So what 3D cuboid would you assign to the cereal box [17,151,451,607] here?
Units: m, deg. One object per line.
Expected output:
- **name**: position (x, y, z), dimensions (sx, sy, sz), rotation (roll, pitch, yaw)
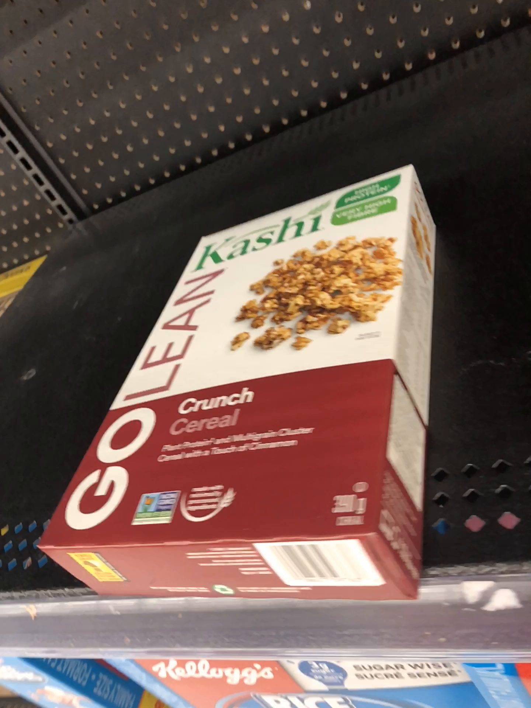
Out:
- **cereal box**: position (0.008, -0.005, 0.346), dimensions (0.181, 0.050, 0.290), rotation (-12, 37, 26)
